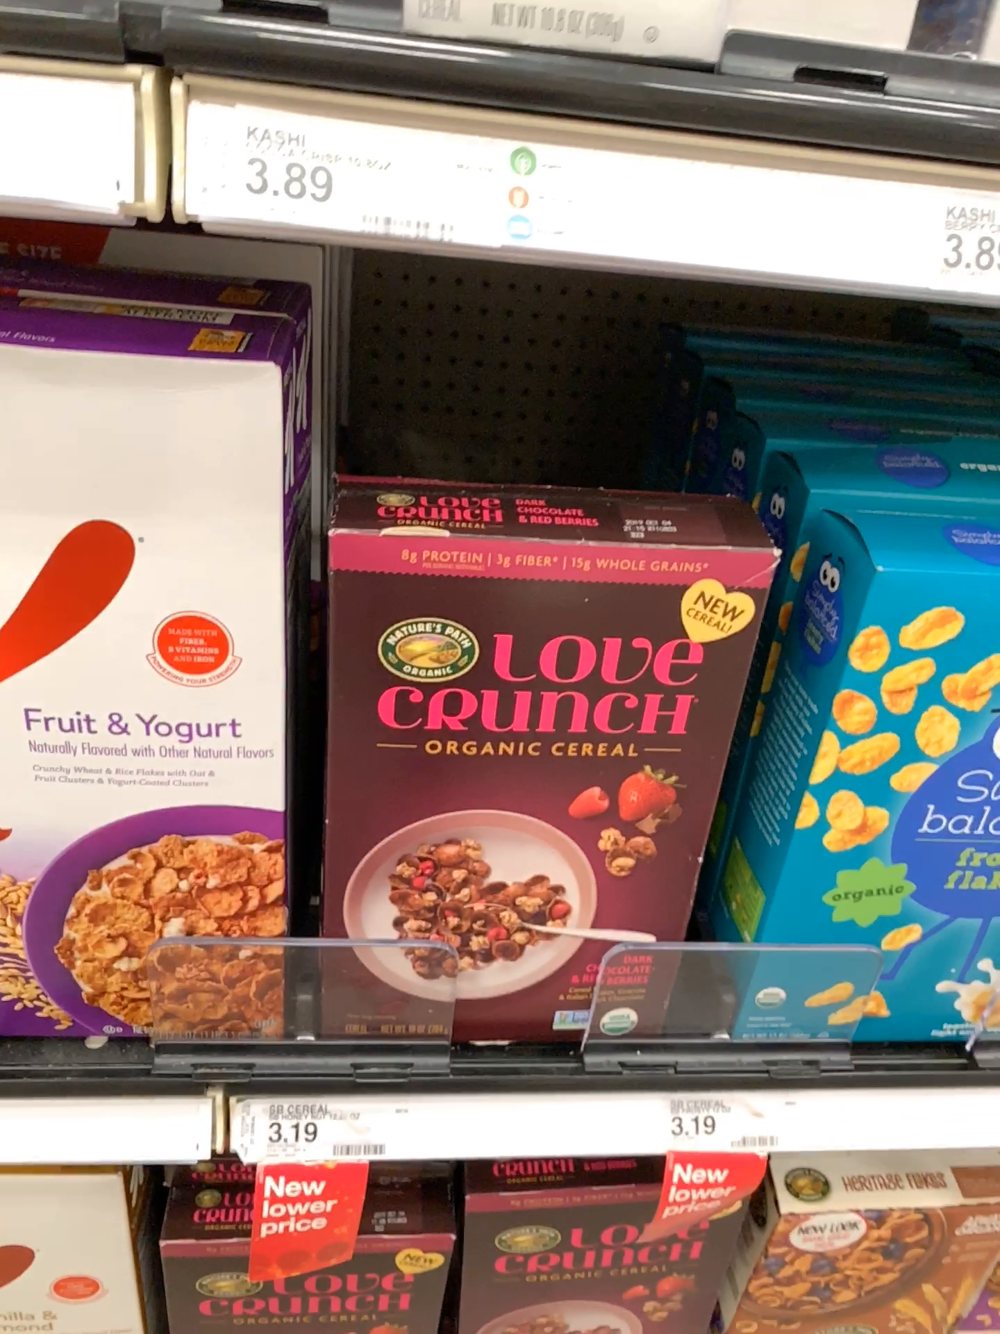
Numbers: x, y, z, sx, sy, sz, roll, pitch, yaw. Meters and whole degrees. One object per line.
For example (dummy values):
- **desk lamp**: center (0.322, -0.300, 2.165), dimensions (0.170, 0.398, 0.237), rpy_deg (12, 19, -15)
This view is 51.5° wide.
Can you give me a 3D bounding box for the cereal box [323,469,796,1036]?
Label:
- **cereal box**: center (0.009, 0.049, 0.434), dimensions (0.160, 0.249, 0.050), rpy_deg (2, 31, -8)
